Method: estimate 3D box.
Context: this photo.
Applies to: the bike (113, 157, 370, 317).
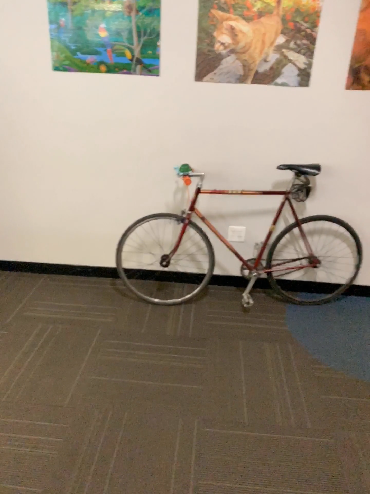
[{"bbox_3d":[0.378,-0.062,2.544,1.626,0.909,0.451,1,25,-3],"label":"bike"}]
